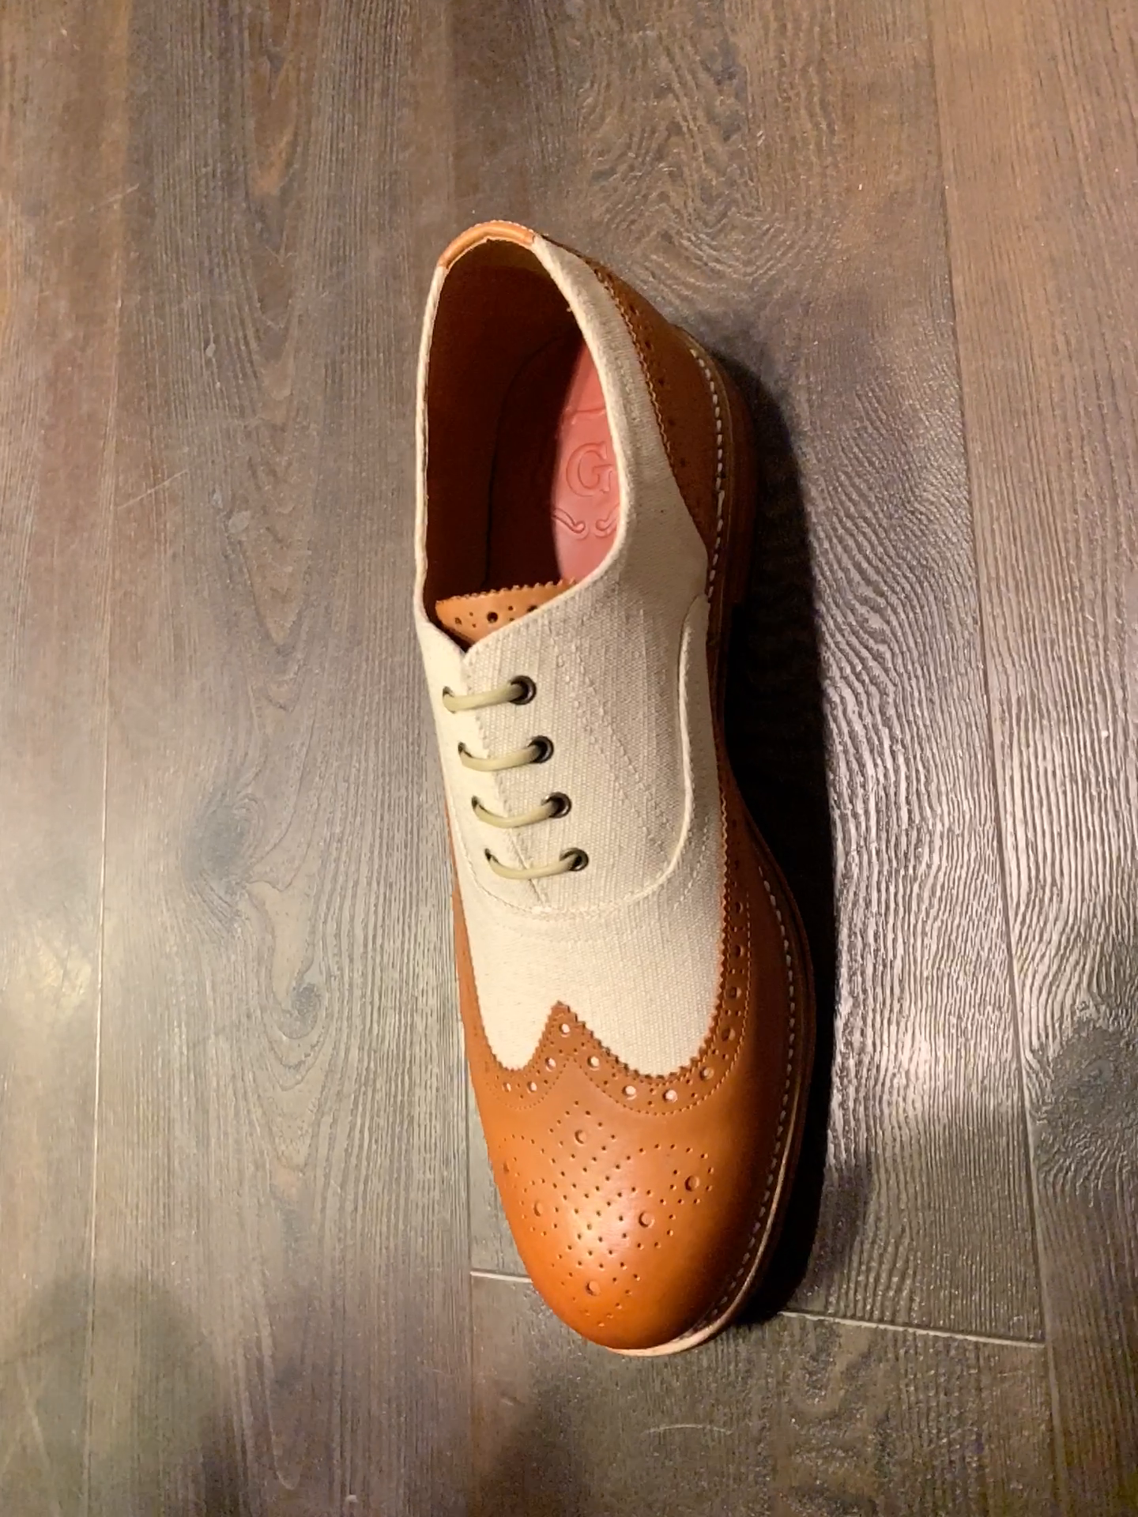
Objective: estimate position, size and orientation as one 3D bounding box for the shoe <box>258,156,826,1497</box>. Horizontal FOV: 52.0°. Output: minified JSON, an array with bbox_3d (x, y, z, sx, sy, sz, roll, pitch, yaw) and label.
[{"bbox_3d":[0.000,0.013,0.339,0.110,0.120,0.300,-4,81,28],"label":"shoe"}]
